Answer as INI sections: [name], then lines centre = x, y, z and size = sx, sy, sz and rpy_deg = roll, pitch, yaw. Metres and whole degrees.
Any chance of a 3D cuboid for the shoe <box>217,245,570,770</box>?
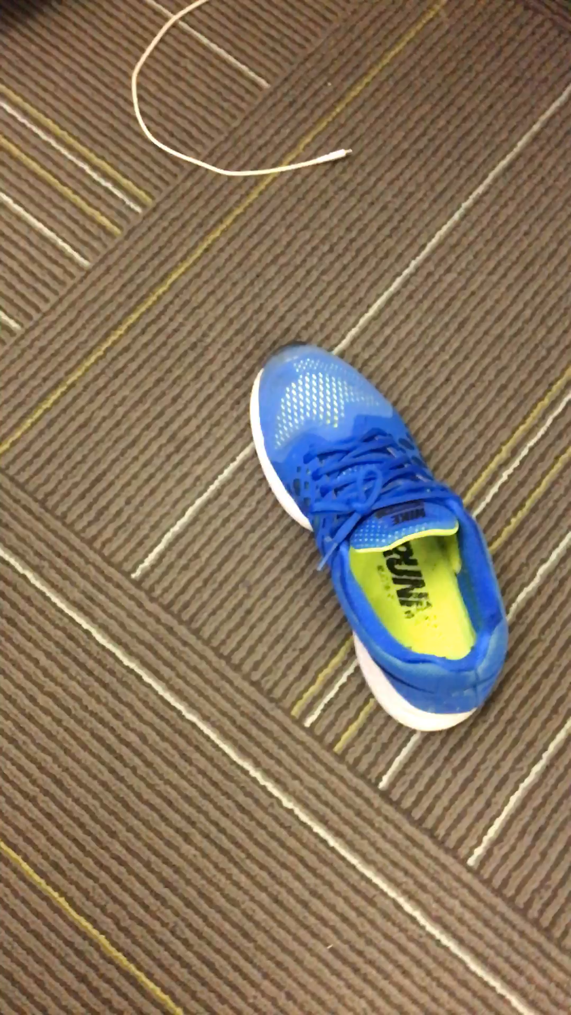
[shoe]
centre = 0.061, 0.007, 0.587
size = 0.110, 0.150, 0.310
rpy_deg = -20, 76, -7
